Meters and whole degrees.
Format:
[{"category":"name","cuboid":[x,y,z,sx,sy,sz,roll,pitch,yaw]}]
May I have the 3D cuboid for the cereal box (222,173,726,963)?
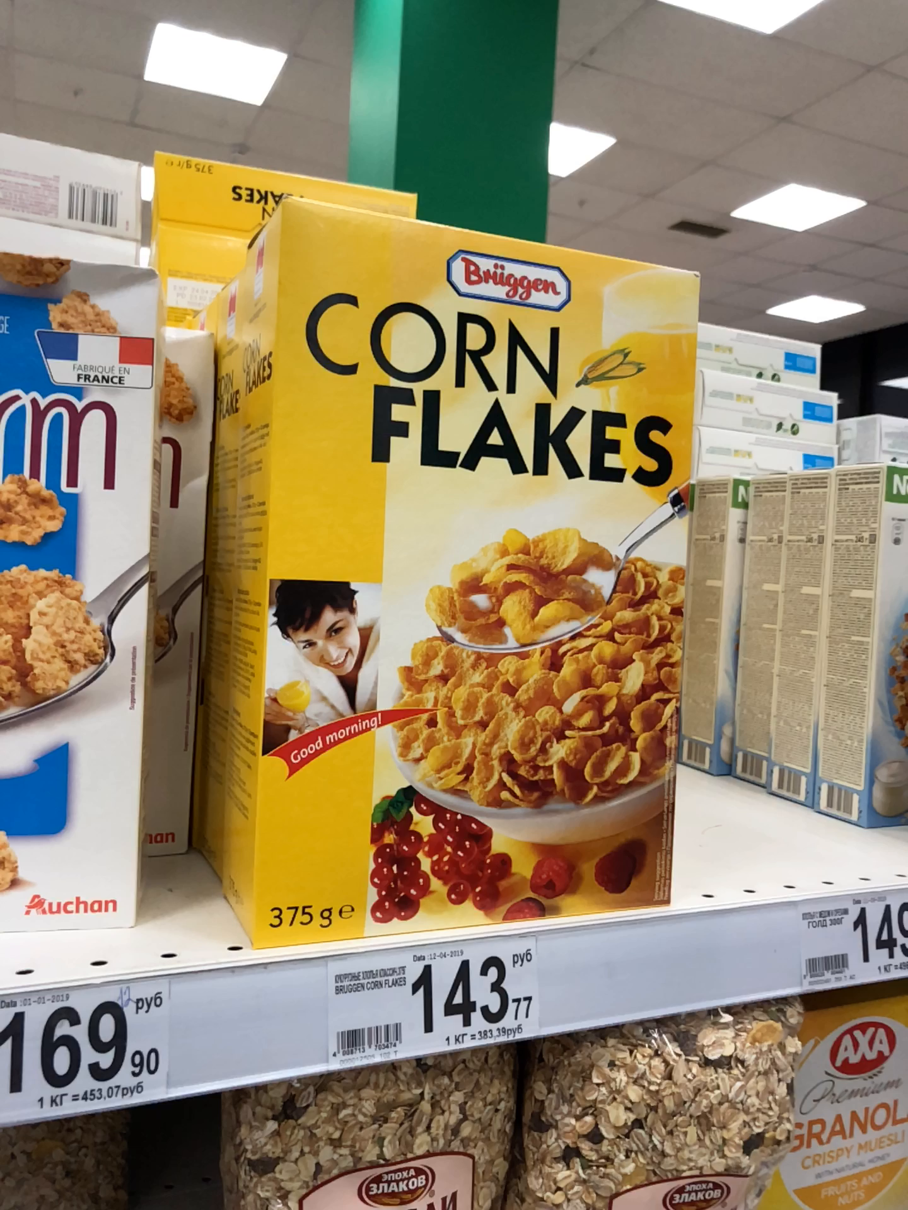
[{"category":"cereal box","cuboid":[0.009,-0.012,0.456,0.200,0.300,0.080,2,2,-23]}]
